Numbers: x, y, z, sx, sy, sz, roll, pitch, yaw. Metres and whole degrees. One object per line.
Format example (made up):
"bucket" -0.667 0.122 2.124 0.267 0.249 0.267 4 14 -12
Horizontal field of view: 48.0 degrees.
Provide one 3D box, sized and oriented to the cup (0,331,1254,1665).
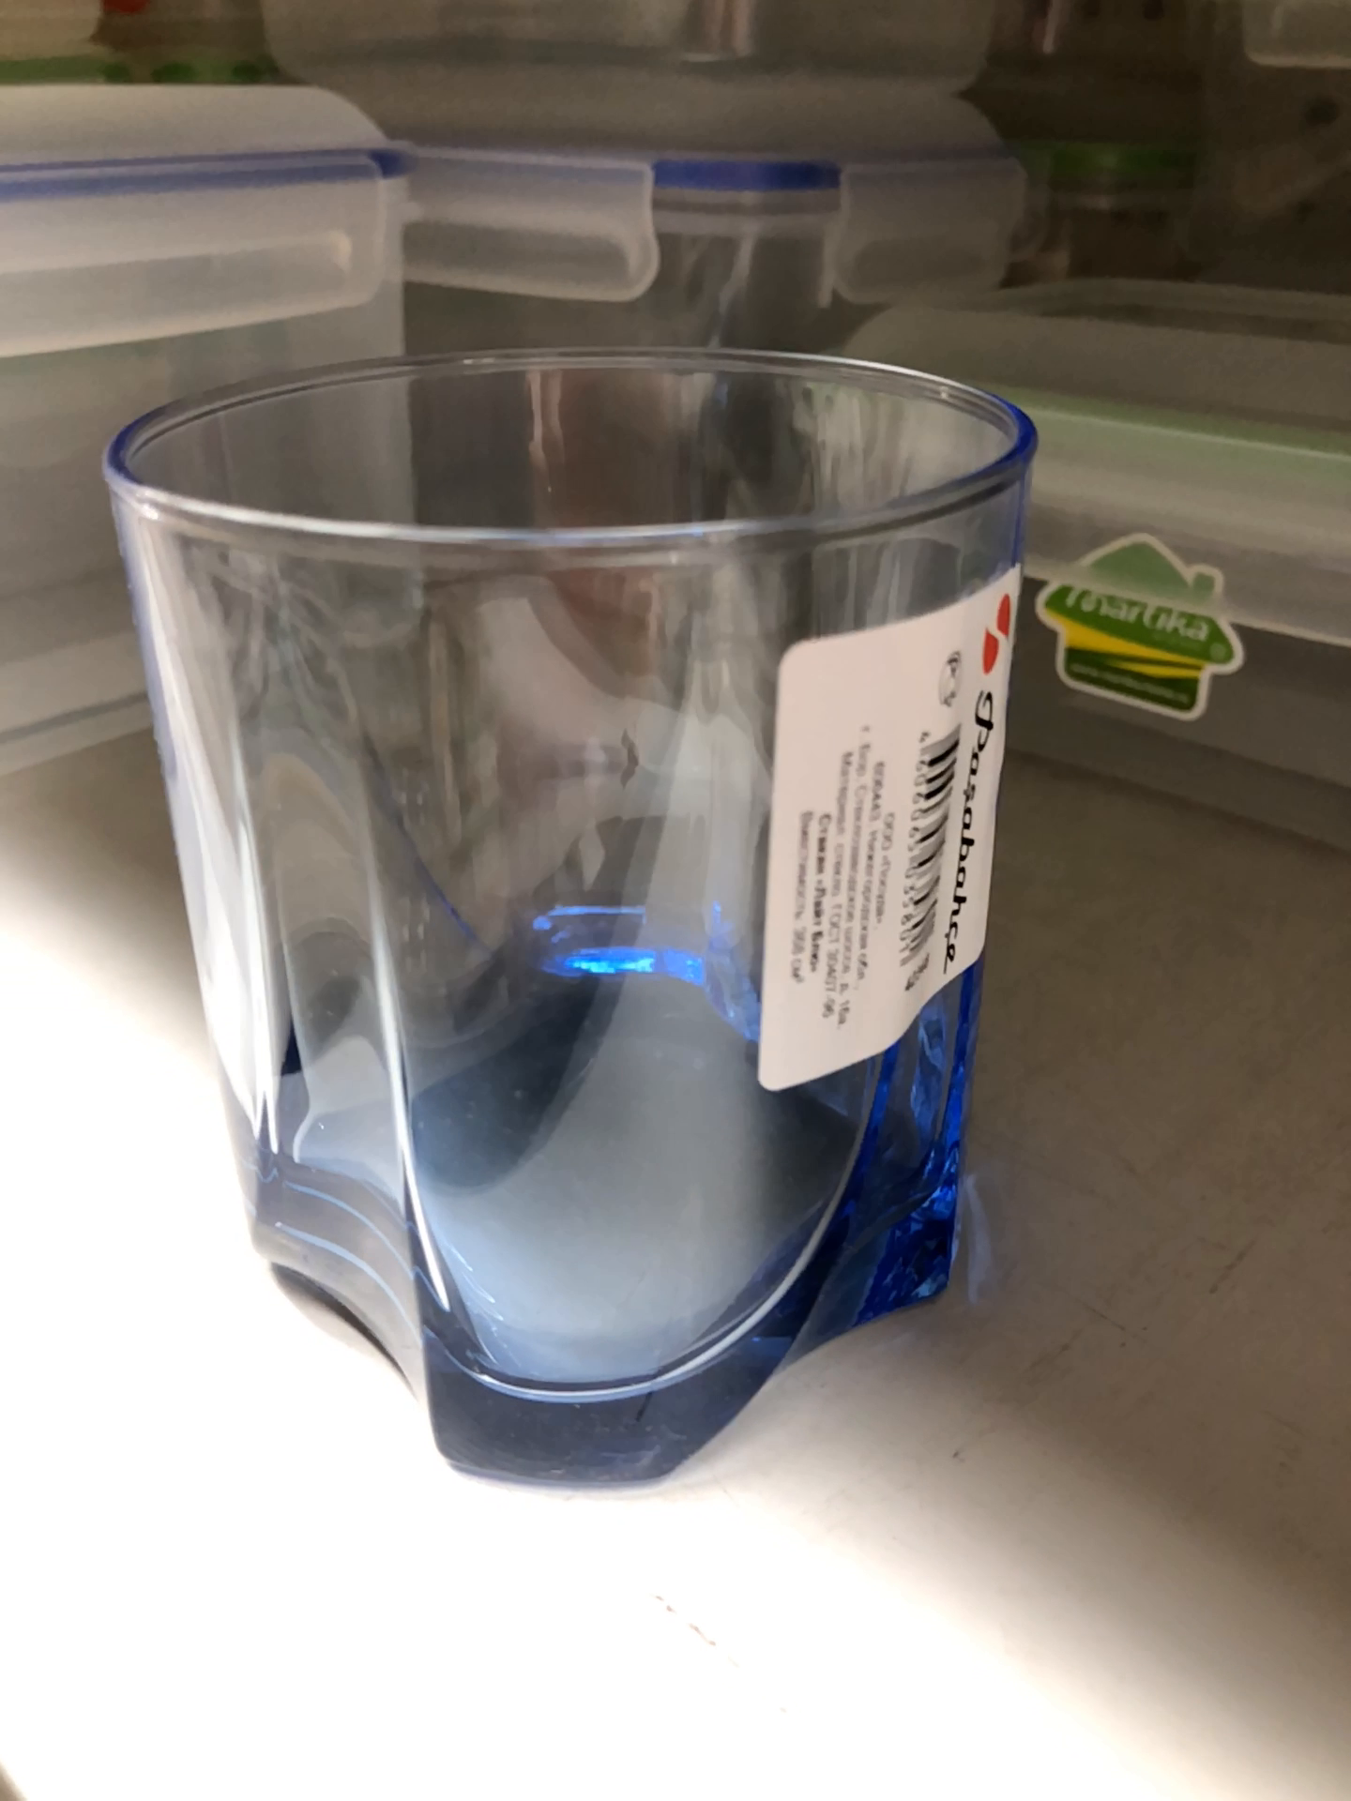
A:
"cup" -0.007 -0.004 0.162 0.083 0.094 0.085 0 26 0
